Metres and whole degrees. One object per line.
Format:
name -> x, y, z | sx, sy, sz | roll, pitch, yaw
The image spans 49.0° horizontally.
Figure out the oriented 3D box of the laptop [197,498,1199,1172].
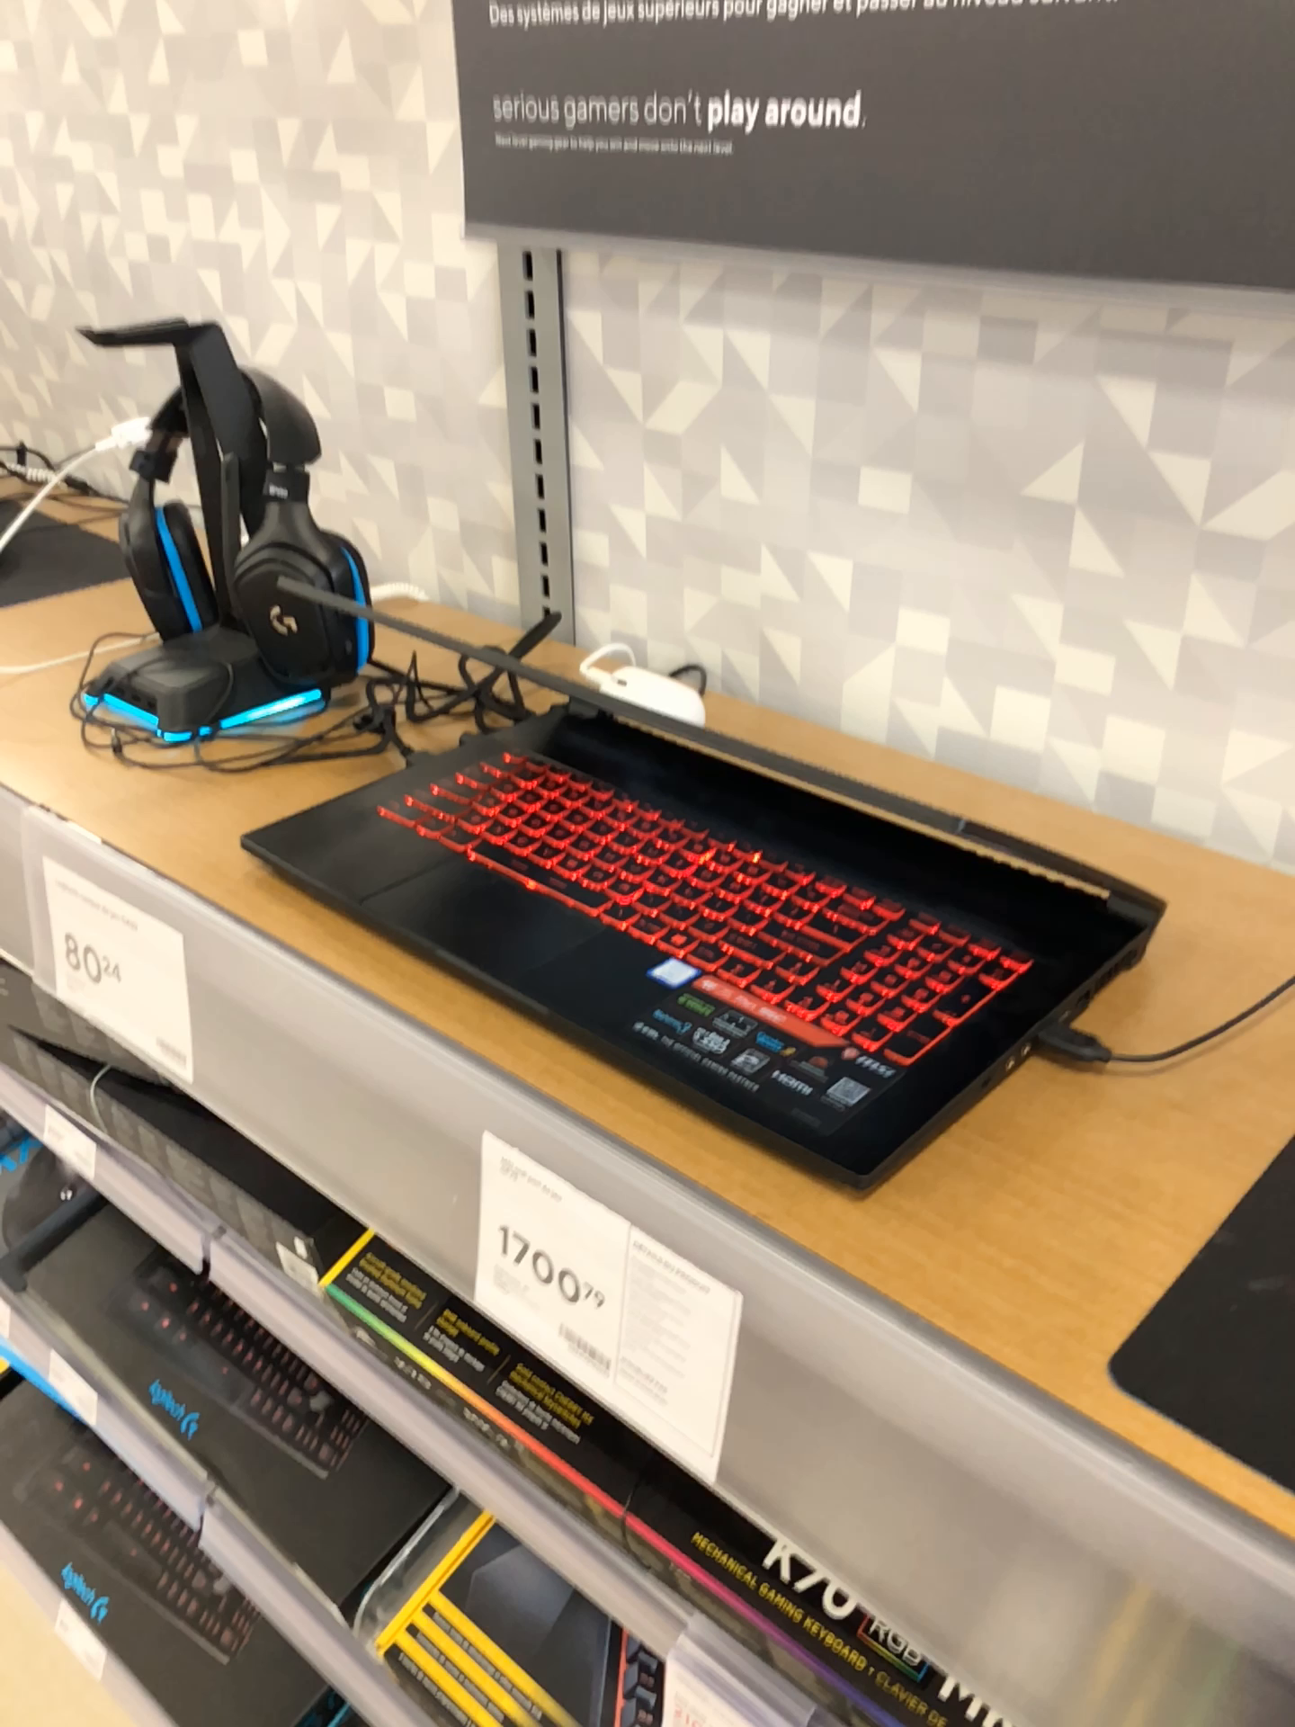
laptop -> 0.011, -0.053, 0.685 | 0.394, 0.133, 0.248 | 23, 37, 36
